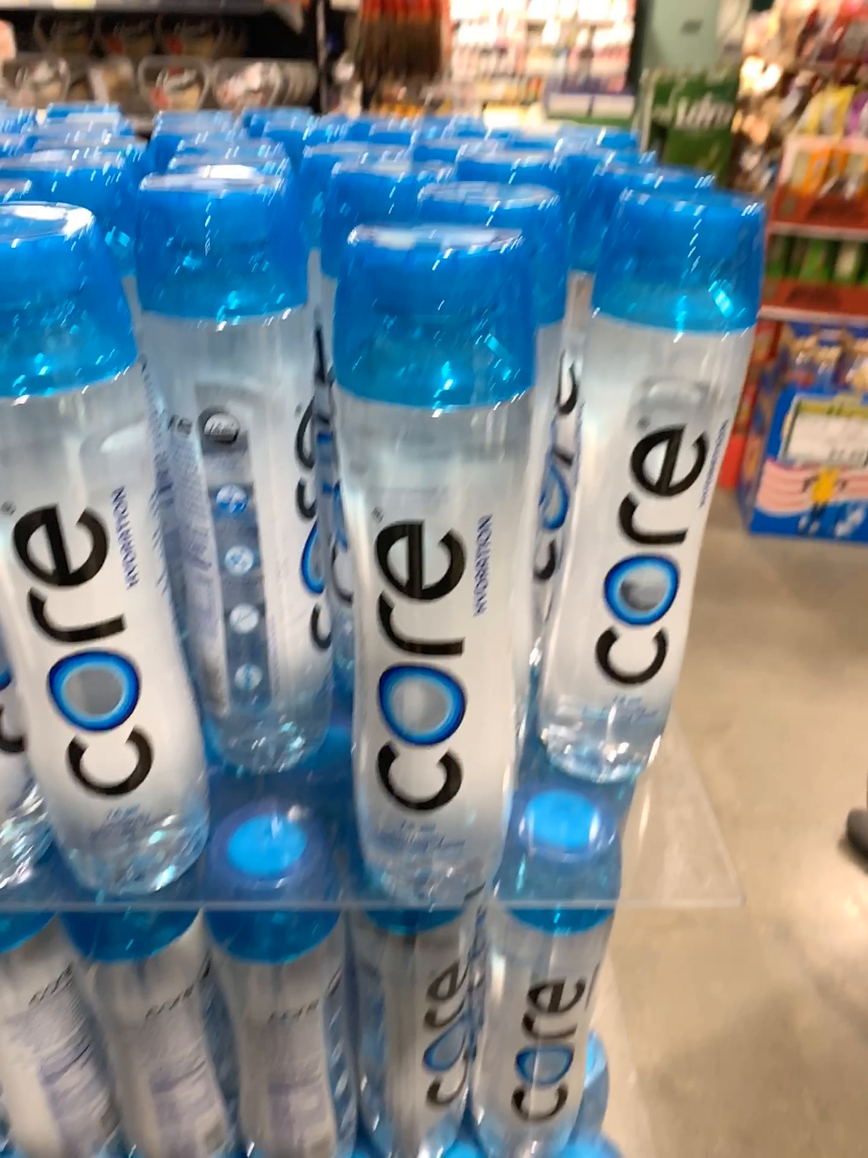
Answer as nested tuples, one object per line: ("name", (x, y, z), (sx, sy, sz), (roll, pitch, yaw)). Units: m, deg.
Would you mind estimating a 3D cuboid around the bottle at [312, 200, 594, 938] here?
("bottle", (0.007, 0.009, 0.364), (0.080, 0.288, 0.091), (4, 31, 5))
